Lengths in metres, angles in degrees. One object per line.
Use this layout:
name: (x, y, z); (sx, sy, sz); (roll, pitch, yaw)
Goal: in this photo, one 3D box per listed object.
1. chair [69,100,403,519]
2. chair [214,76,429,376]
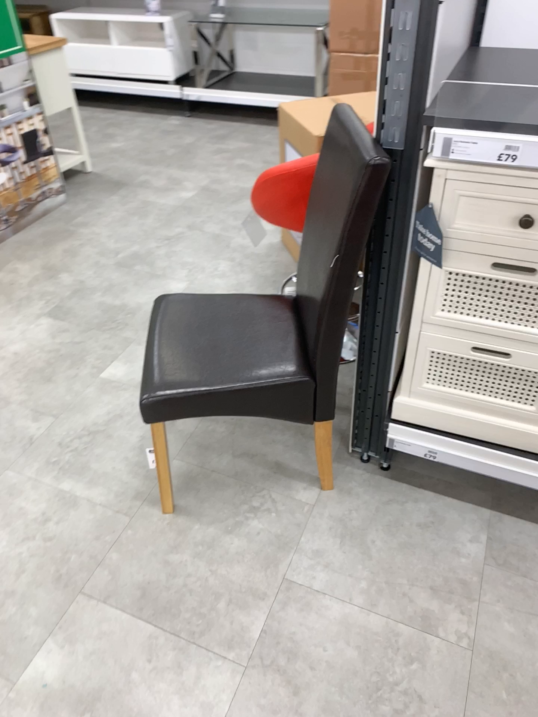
chair: (-0.053, -0.081, 1.368); (0.555, 0.912, 0.430); (-4, 39, -2)
chair: (0.165, -0.438, 1.819); (0.457, 0.774, 0.428); (25, 46, 30)
